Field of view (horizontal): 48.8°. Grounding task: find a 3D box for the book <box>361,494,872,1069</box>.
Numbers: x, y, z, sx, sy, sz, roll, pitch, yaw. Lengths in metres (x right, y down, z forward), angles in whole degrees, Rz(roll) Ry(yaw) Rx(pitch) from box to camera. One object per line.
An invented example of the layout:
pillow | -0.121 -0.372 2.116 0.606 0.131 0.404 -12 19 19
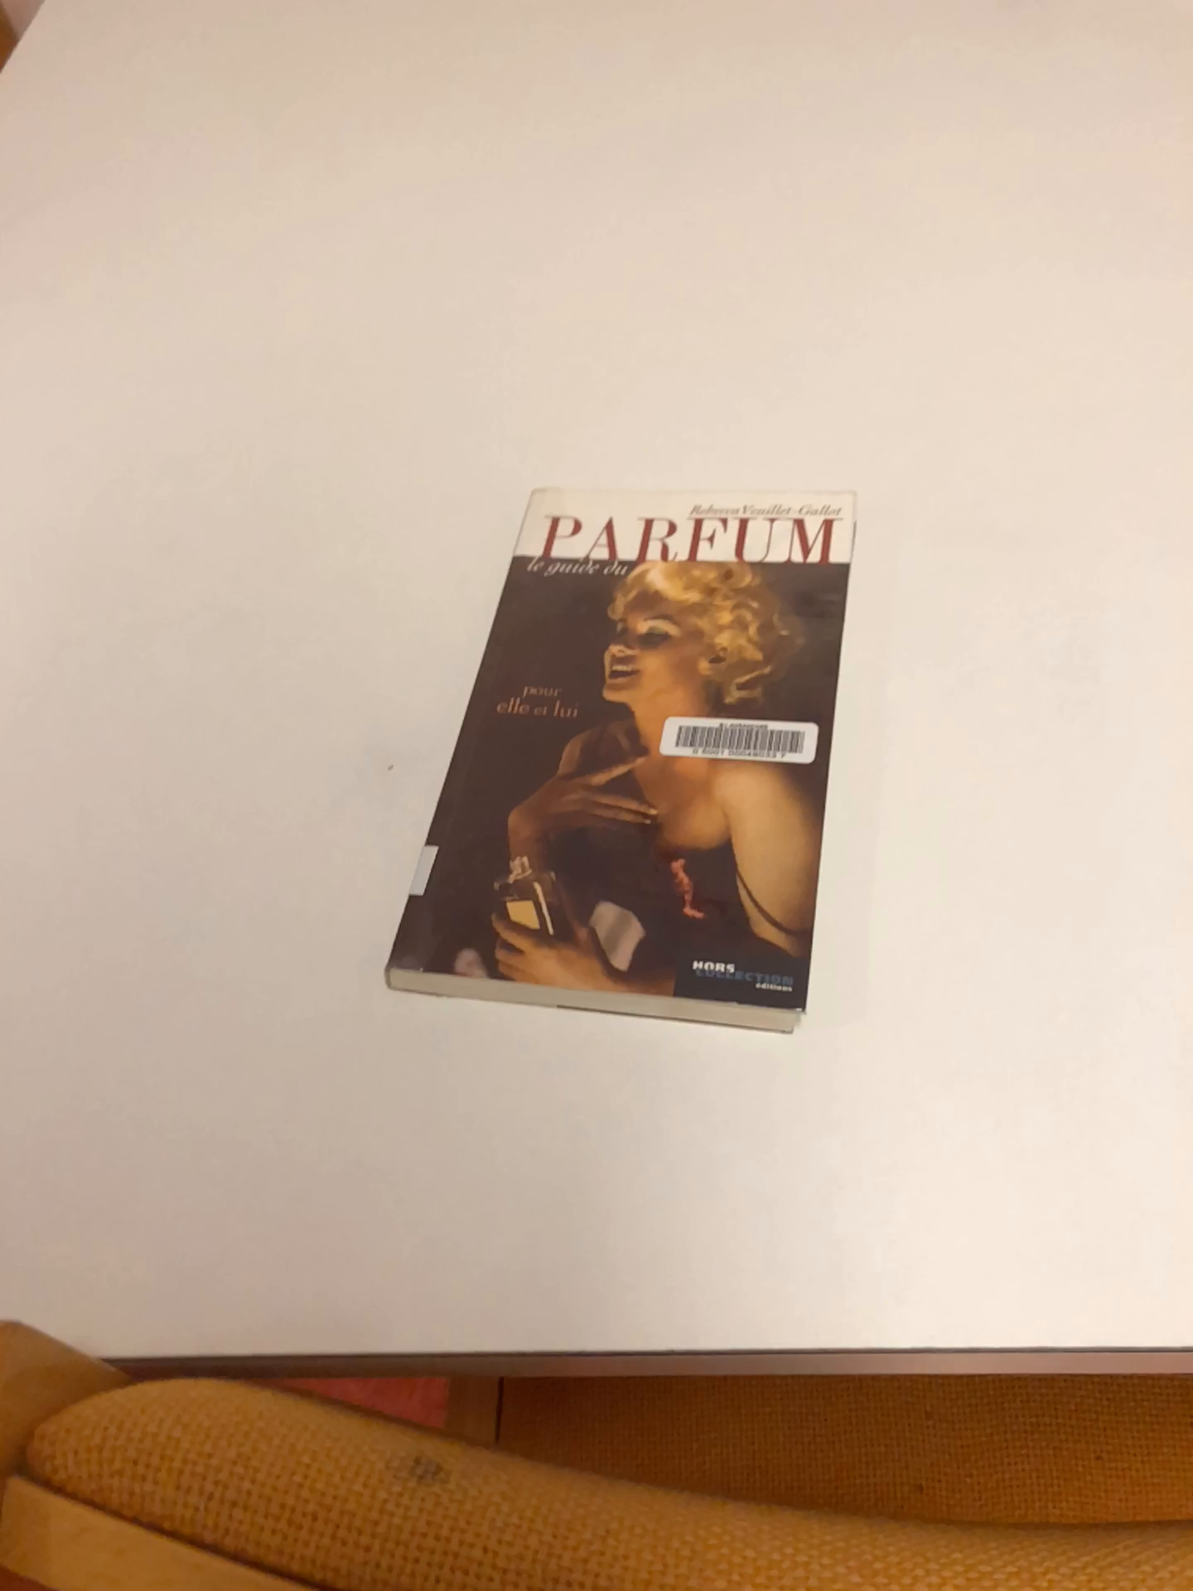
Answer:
book | 0.017 -0.019 0.429 0.133 0.020 0.211 3 55 12
